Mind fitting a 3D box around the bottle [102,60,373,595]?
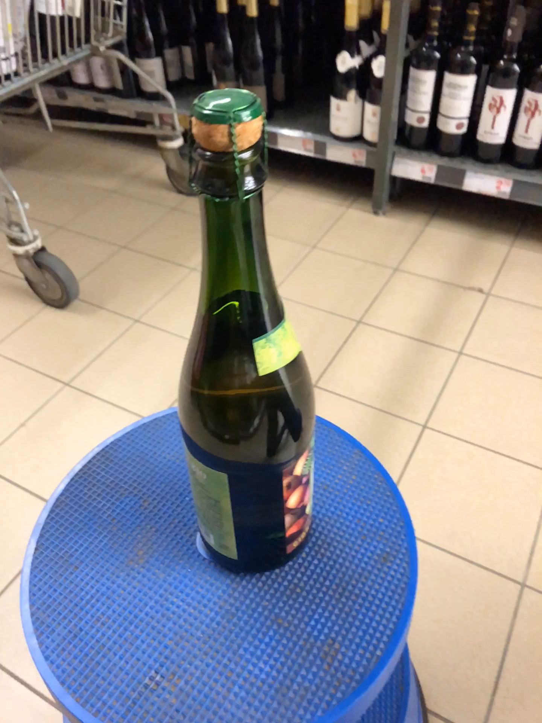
[{"bbox_3d":[-0.014,0.007,0.329,0.090,0.288,0.090,-1,43,1],"label":"bottle"}]
